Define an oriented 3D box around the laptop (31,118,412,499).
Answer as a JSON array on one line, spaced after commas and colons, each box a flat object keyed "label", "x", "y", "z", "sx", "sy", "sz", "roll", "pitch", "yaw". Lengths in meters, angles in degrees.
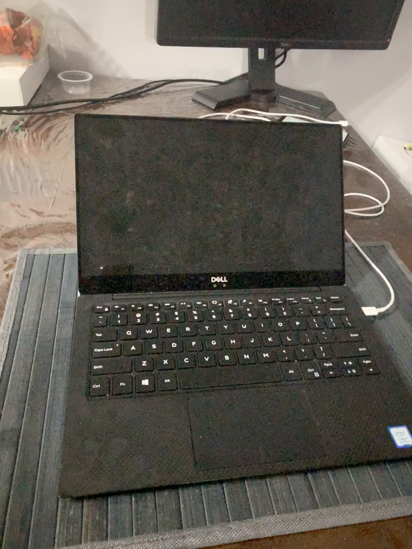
[{"label": "laptop", "x": 0.033, "y": -0.008, "z": 0.363, "sx": 0.282, "sy": 0.129, "sz": 0.299, "roll": -2, "pitch": 41, "yaw": -11}]
